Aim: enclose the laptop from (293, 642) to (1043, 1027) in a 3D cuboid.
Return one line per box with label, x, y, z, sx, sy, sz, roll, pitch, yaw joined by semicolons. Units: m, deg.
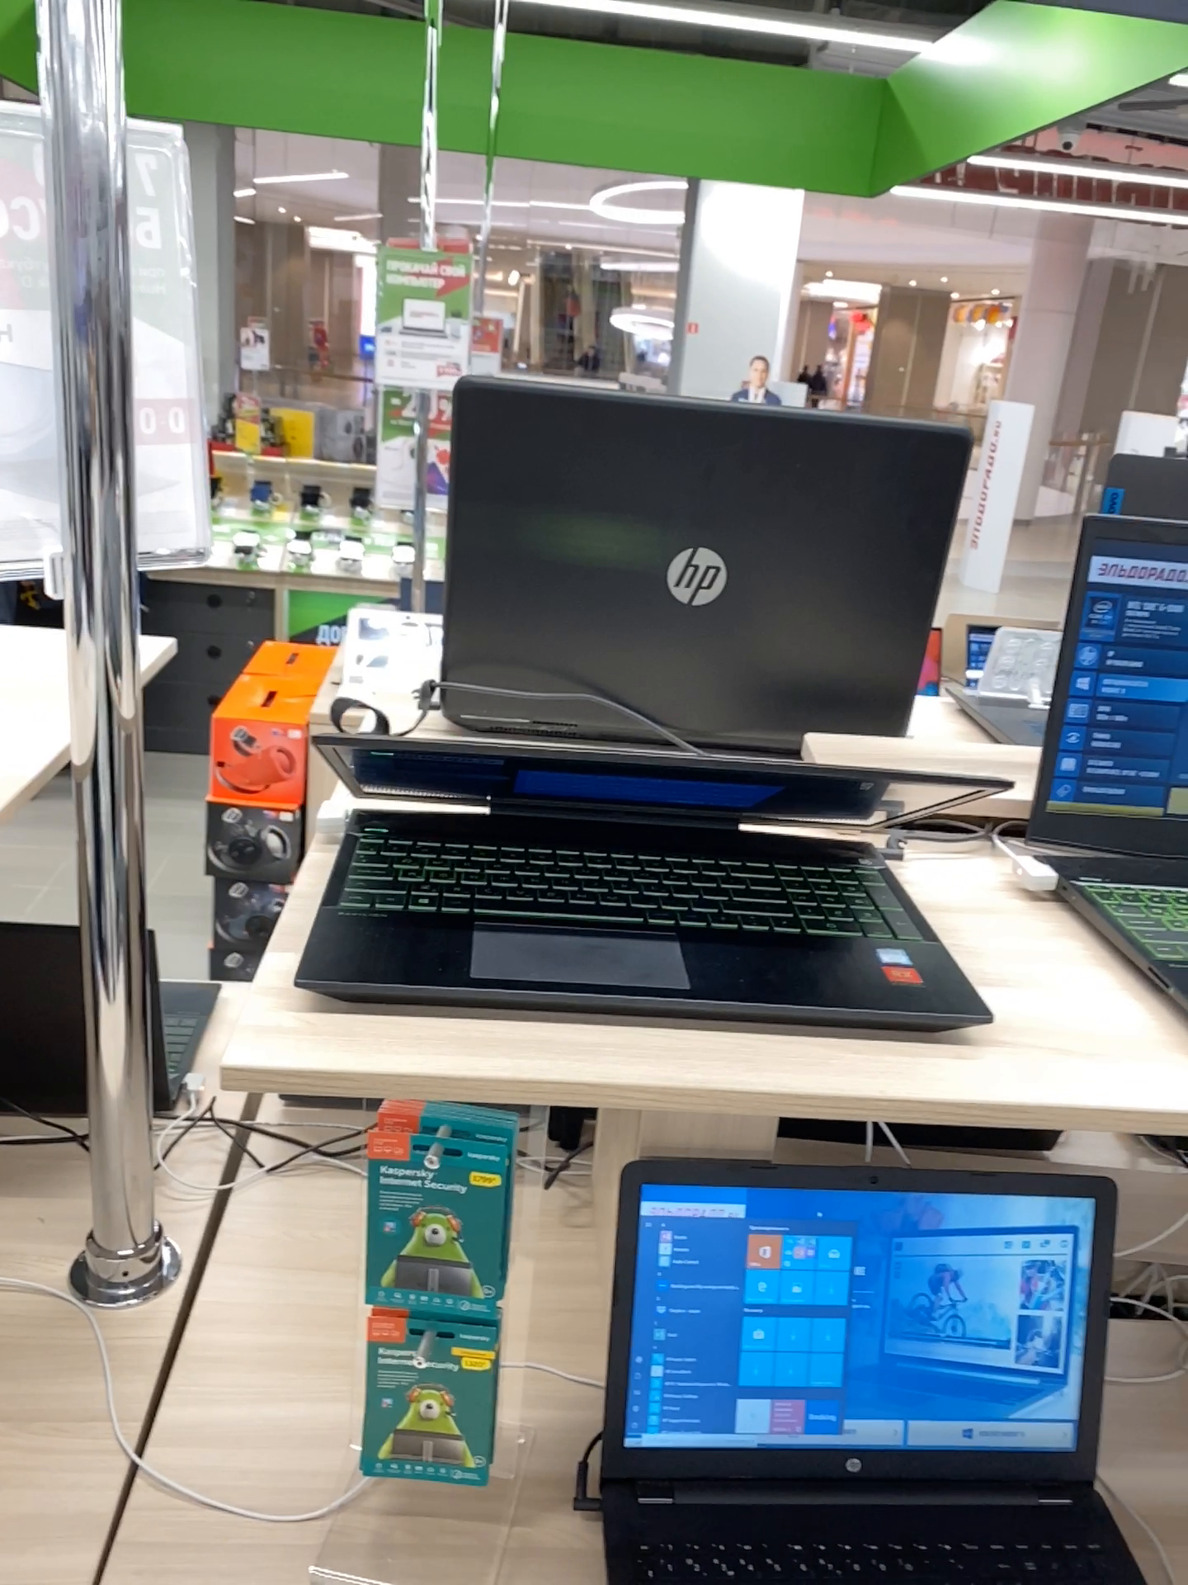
laptop;0.029;0.012;0.717;0.364;0.115;0.245;5;19;-5
